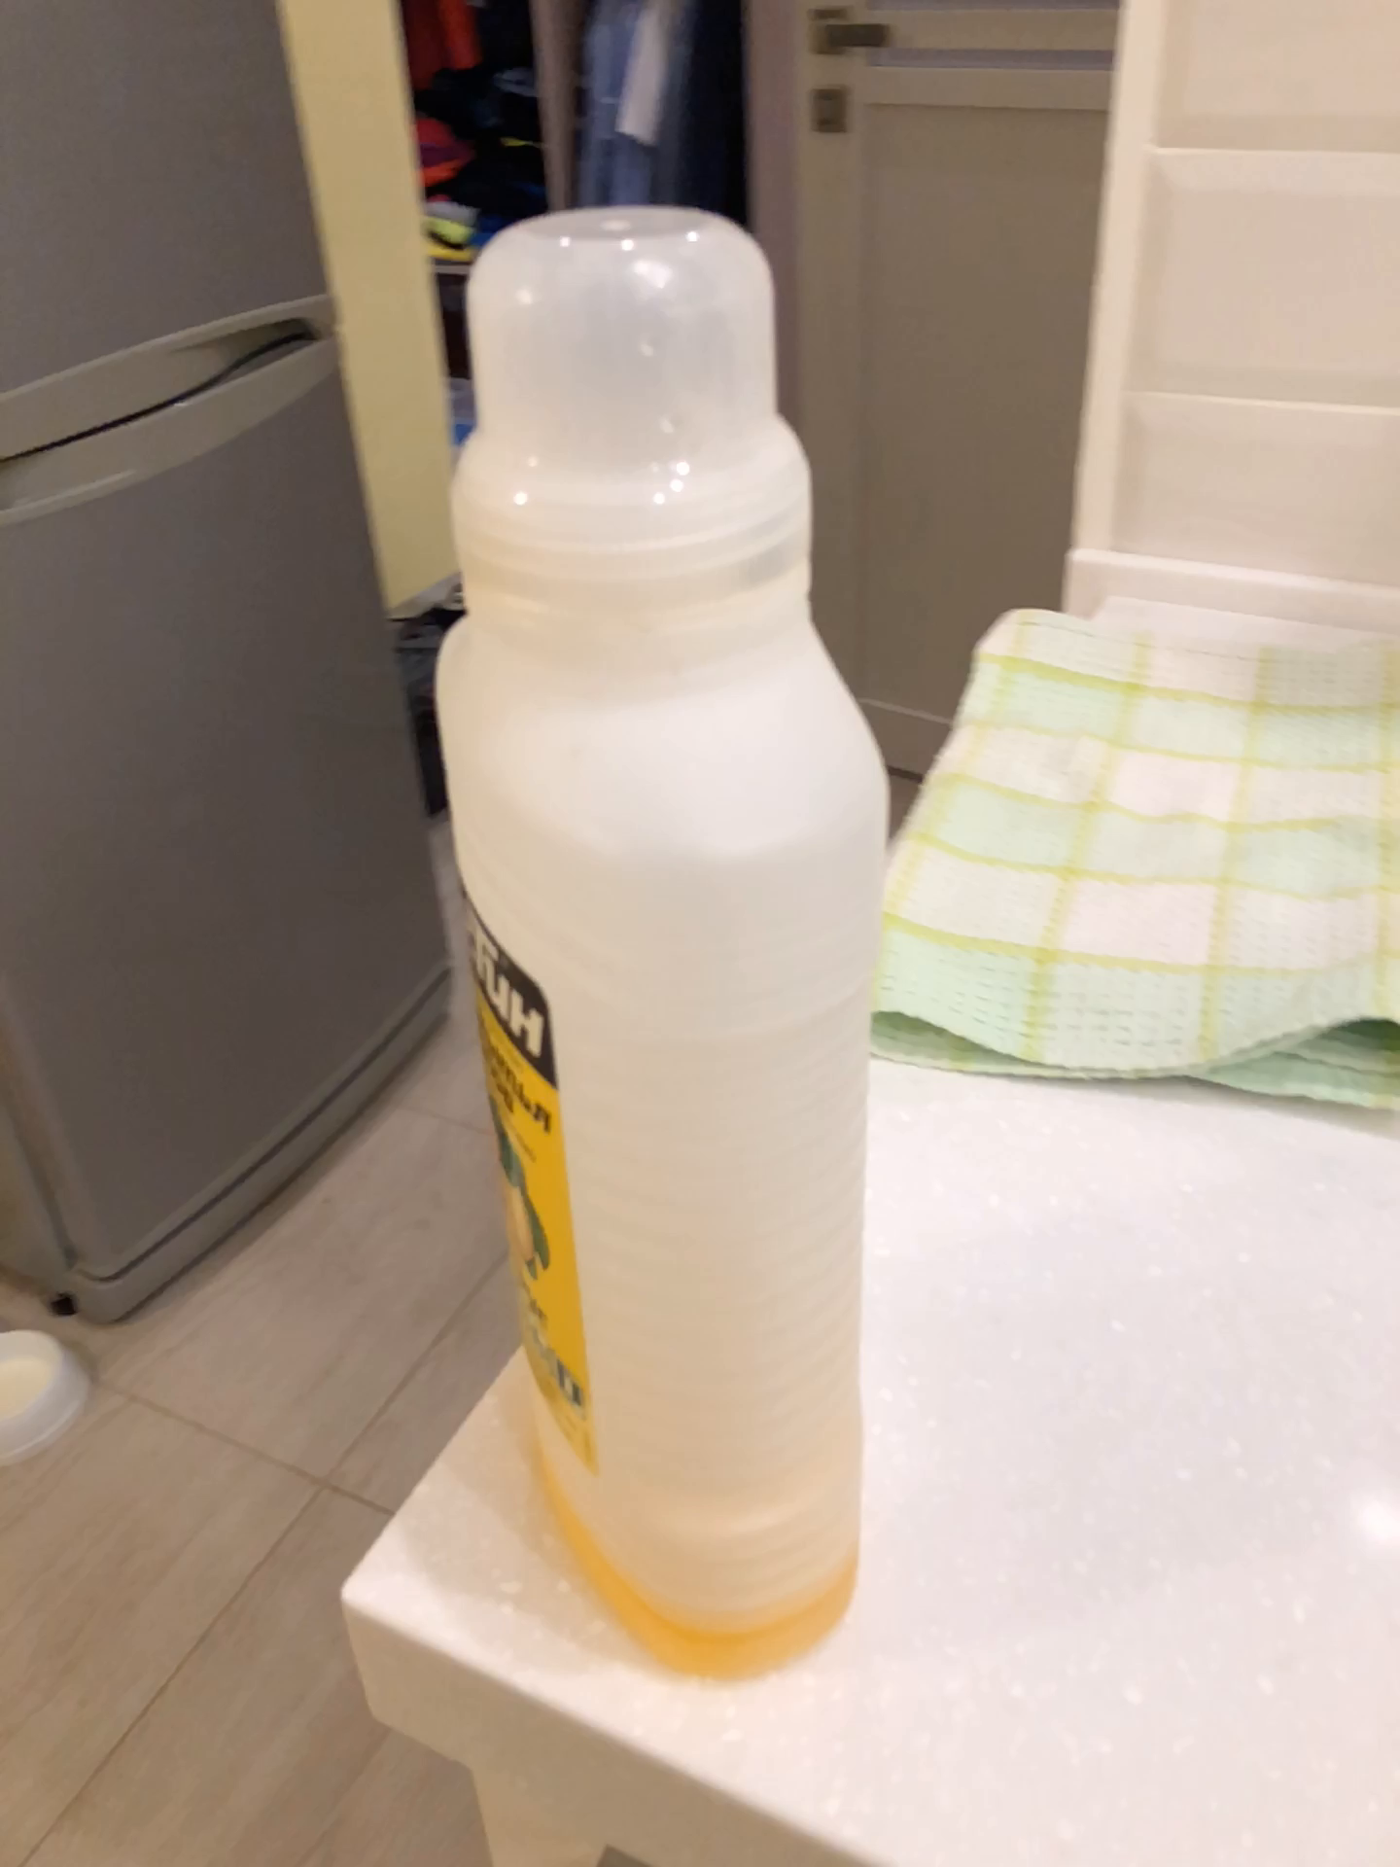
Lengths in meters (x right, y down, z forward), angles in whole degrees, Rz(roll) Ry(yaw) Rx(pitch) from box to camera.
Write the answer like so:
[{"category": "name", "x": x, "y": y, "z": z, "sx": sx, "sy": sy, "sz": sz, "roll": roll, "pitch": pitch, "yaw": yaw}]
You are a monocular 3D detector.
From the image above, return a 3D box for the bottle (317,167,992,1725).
[{"category": "bottle", "x": -0.008, "y": 0.014, "z": 0.281, "sx": 0.061, "sy": 0.264, "sz": 0.102, "roll": -14, "pitch": 35, "yaw": -16}]
